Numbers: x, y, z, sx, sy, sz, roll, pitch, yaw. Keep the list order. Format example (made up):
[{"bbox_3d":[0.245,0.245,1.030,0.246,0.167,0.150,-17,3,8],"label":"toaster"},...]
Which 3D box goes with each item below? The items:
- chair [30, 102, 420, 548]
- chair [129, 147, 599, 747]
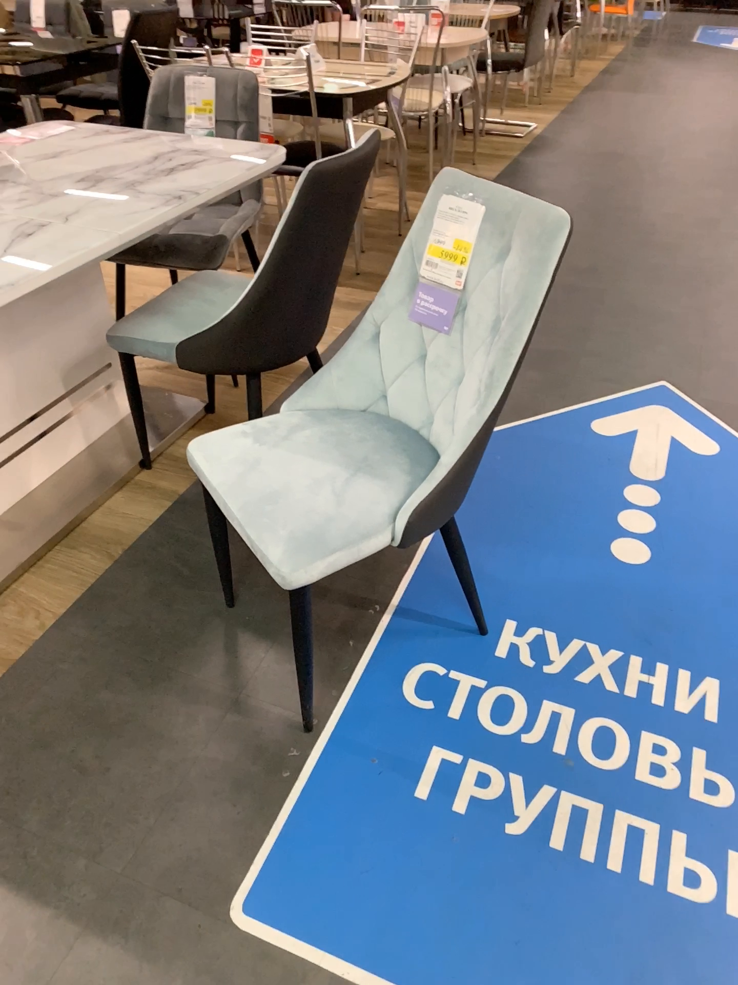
[{"bbox_3d":[-0.296,-0.448,1.954,0.665,0.880,0.572,14,39,18],"label":"chair"},{"bbox_3d":[-0.022,-0.088,1.411,0.551,0.885,0.472,-20,42,-25],"label":"chair"}]
